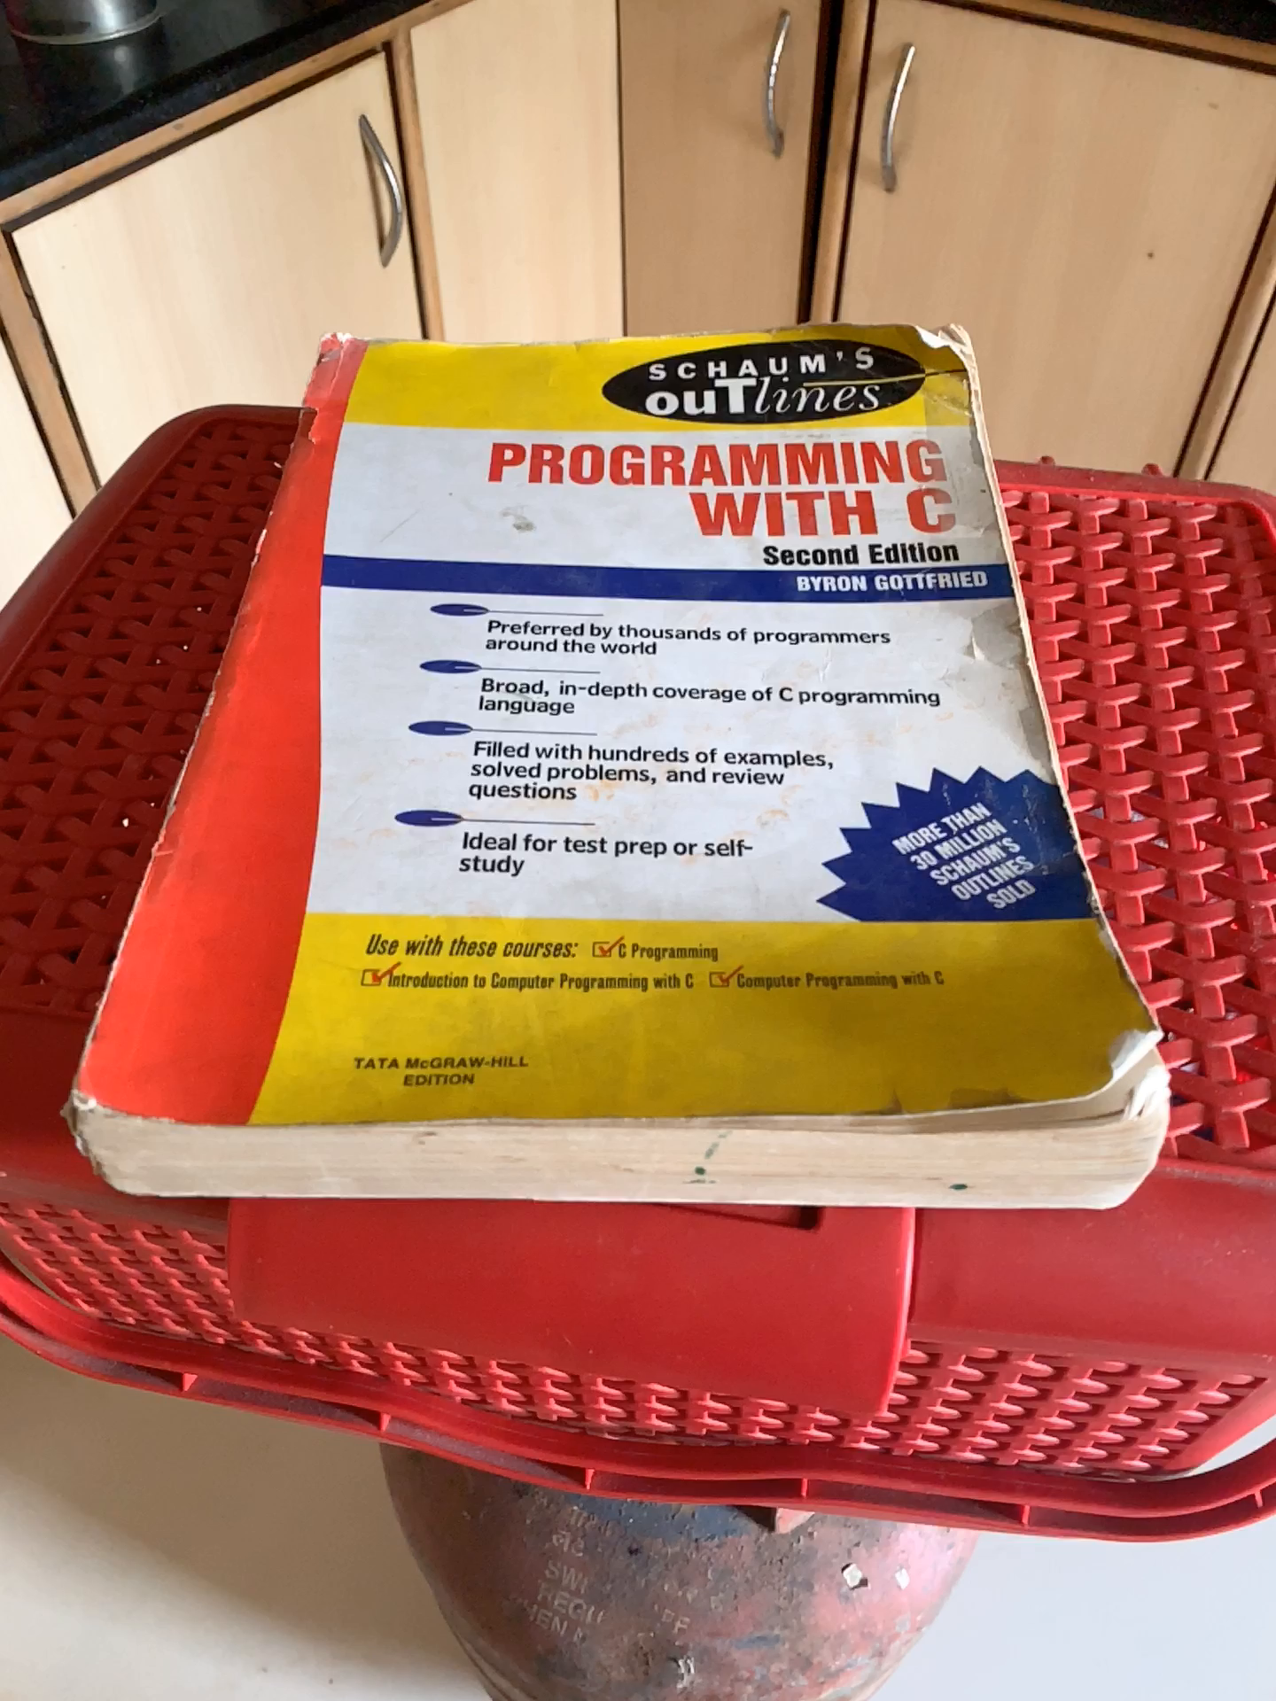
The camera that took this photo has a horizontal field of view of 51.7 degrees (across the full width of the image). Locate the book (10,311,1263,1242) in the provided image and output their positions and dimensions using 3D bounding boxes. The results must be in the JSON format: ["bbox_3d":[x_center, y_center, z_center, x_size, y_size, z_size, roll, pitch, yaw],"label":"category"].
[{"bbox_3d":[0.002,-0.041,0.311,0.200,0.050,0.252,1,50,1],"label":"book"}]
